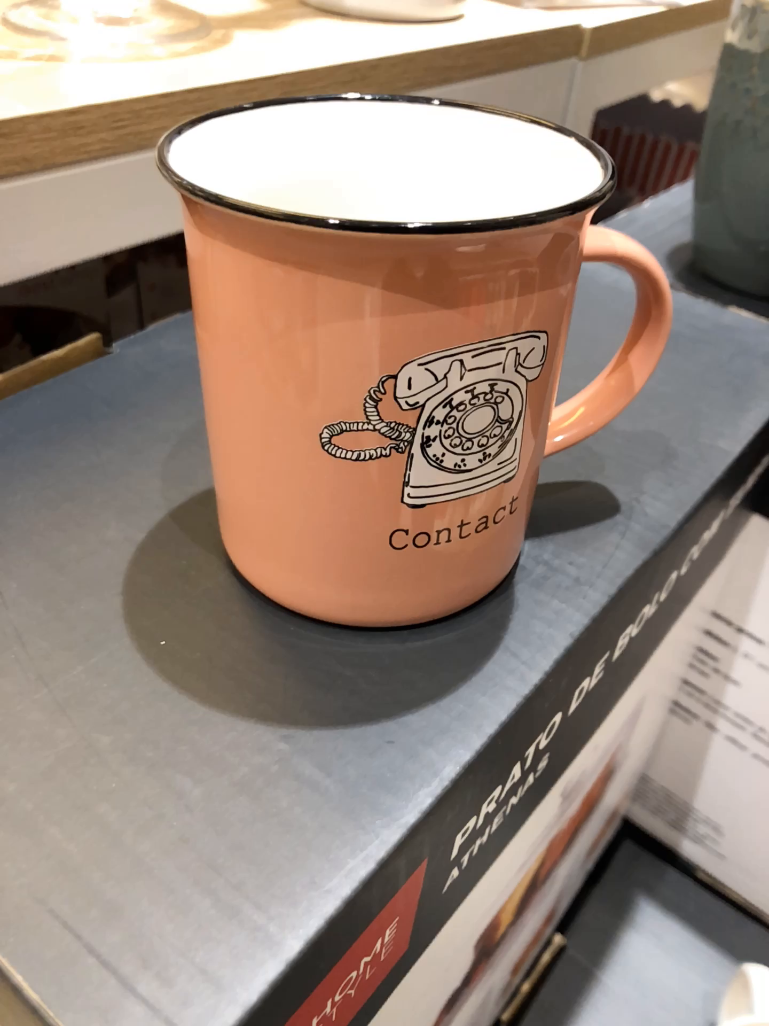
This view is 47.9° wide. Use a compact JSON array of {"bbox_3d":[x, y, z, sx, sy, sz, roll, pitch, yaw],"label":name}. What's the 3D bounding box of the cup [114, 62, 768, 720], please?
[{"bbox_3d":[0.014,-0.033,0.179,0.110,0.089,0.080,-14,43,-23],"label":"cup"}]
